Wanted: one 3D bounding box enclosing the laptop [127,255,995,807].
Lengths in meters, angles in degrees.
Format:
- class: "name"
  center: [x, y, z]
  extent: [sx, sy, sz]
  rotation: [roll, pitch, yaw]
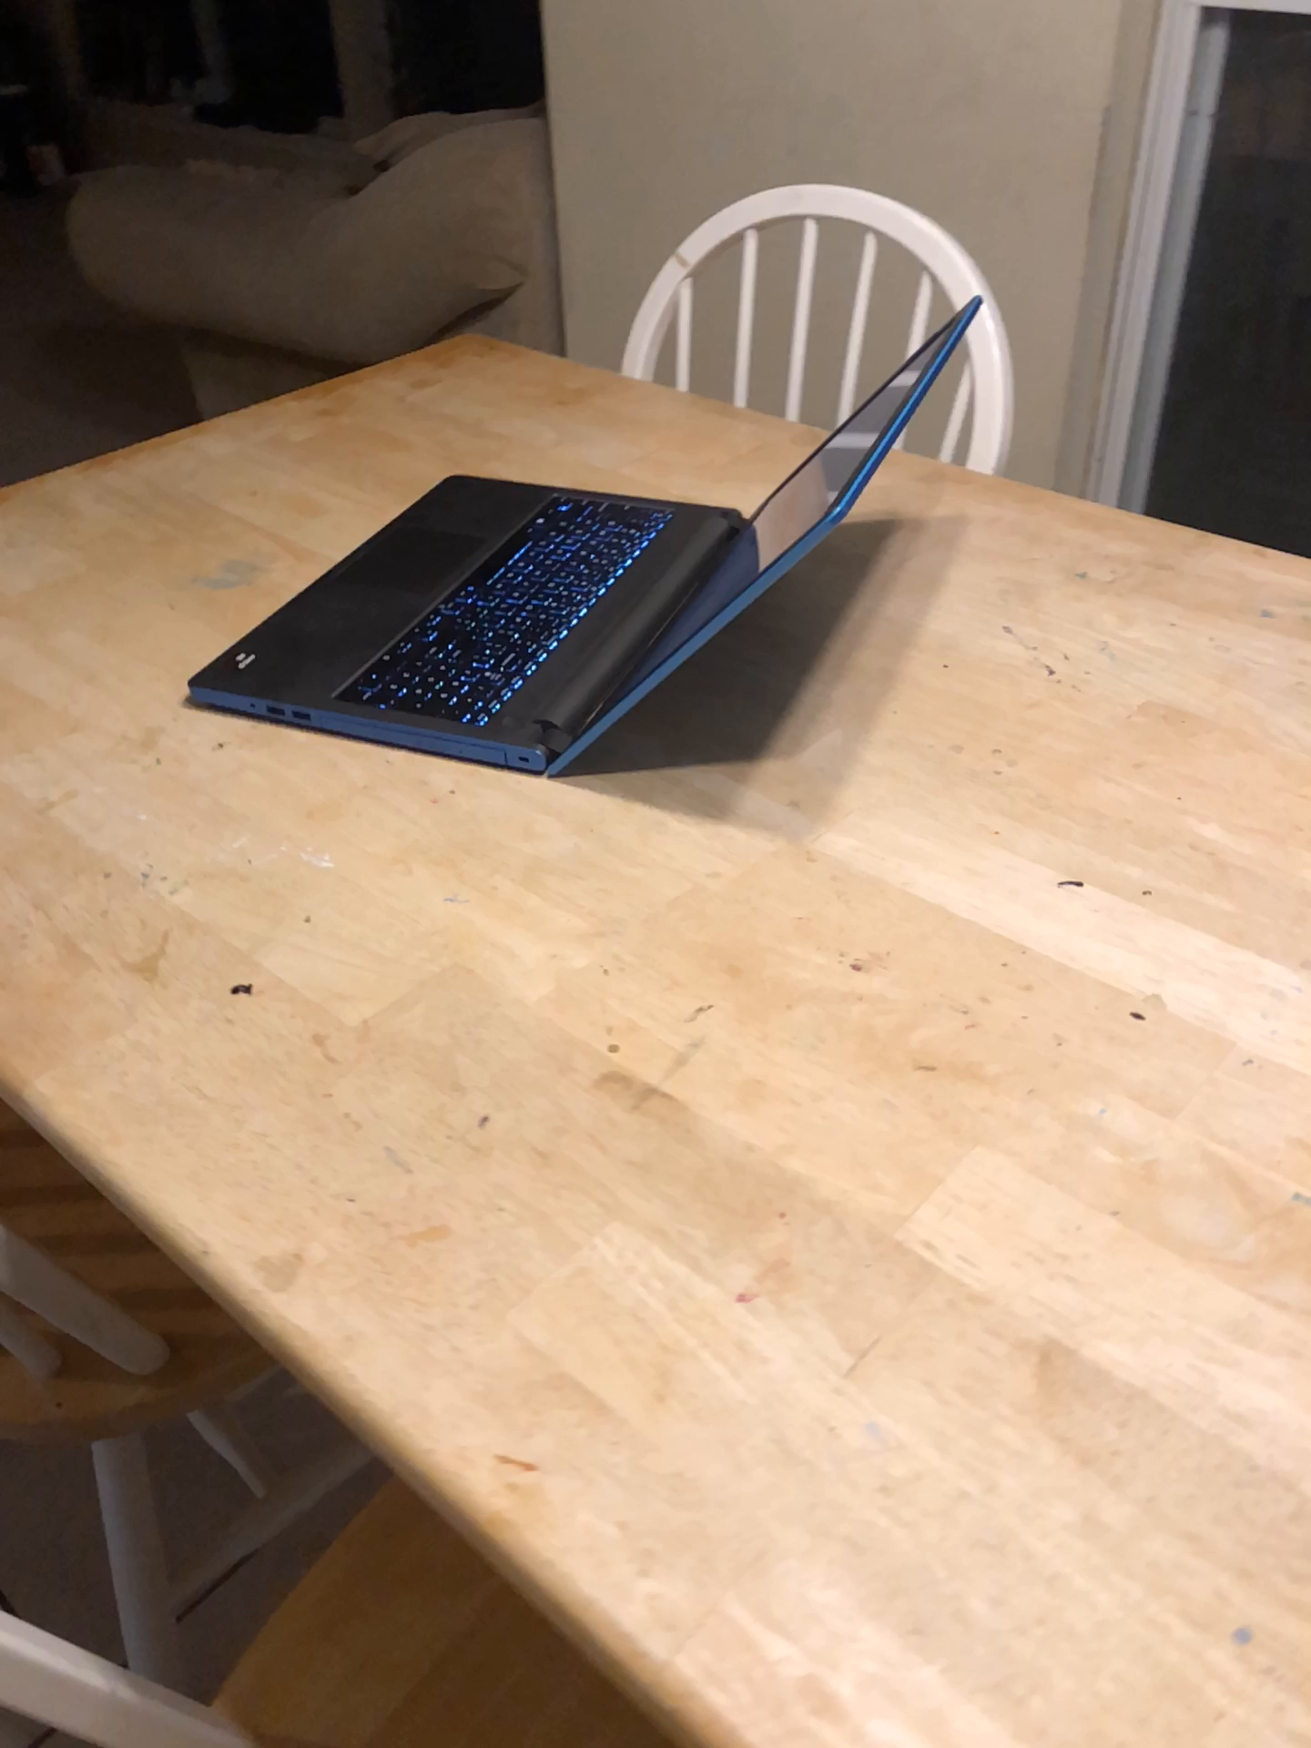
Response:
- class: "laptop"
  center: [-0.033, -0.252, 0.935]
  extent: [0.419, 0.174, 0.368]
  rotation: [12, 39, 18]
